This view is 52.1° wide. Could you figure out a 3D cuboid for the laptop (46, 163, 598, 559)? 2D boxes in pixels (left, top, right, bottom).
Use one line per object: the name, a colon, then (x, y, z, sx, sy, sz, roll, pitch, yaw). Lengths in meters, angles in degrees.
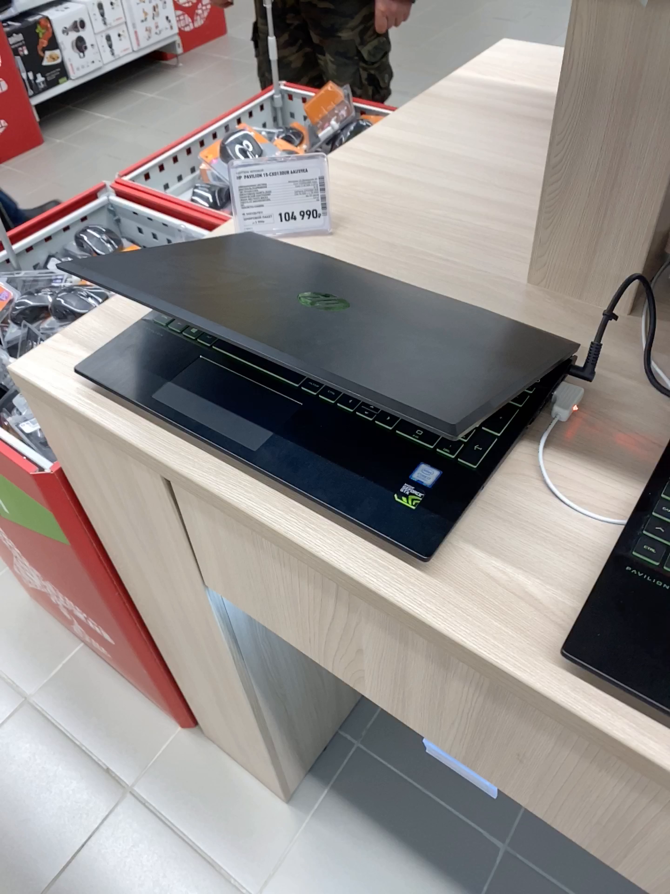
laptop: (-0.016, -0.104, 0.568, 0.366, 0.086, 0.241, 26, 55, 26)
